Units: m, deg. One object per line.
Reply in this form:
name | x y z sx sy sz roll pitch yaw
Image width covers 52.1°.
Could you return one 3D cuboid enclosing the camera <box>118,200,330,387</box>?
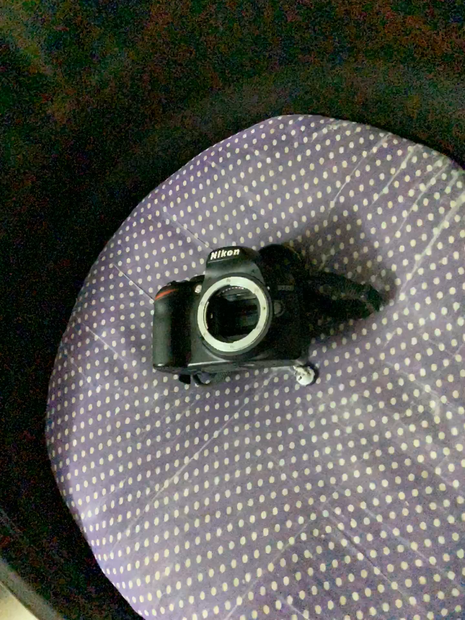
camera | -0.007 -0.004 0.375 0.140 0.080 0.110 -10 76 19
